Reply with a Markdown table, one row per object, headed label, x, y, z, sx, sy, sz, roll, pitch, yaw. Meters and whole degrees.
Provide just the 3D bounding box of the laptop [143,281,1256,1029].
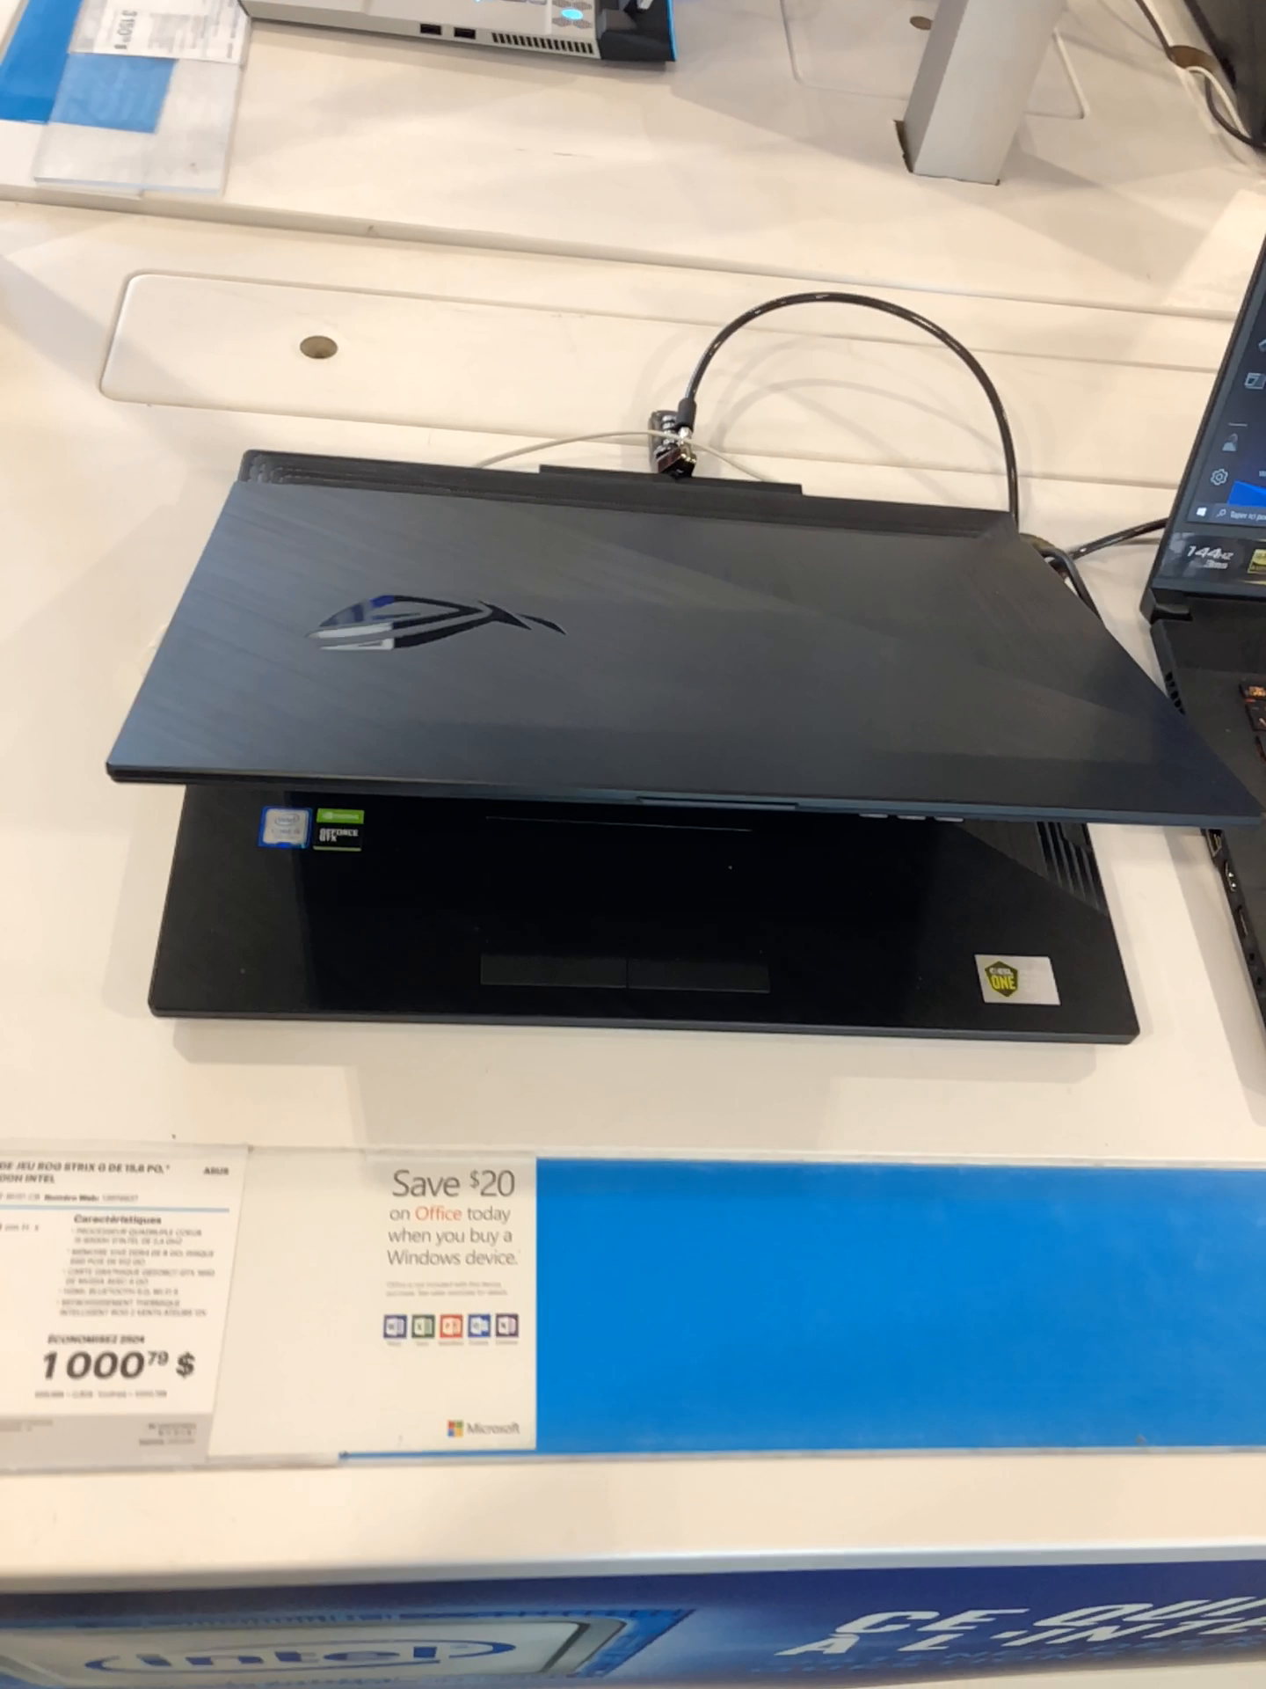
| label | x | y | z | sx | sy | sz | roll | pitch | yaw |
| --- | --- | --- | --- | --- | --- | --- | --- | --- | --- |
| laptop | 0.019 | -0.075 | 0.522 | 0.331 | 0.097 | 0.263 | 2 | 57 | -6 |
